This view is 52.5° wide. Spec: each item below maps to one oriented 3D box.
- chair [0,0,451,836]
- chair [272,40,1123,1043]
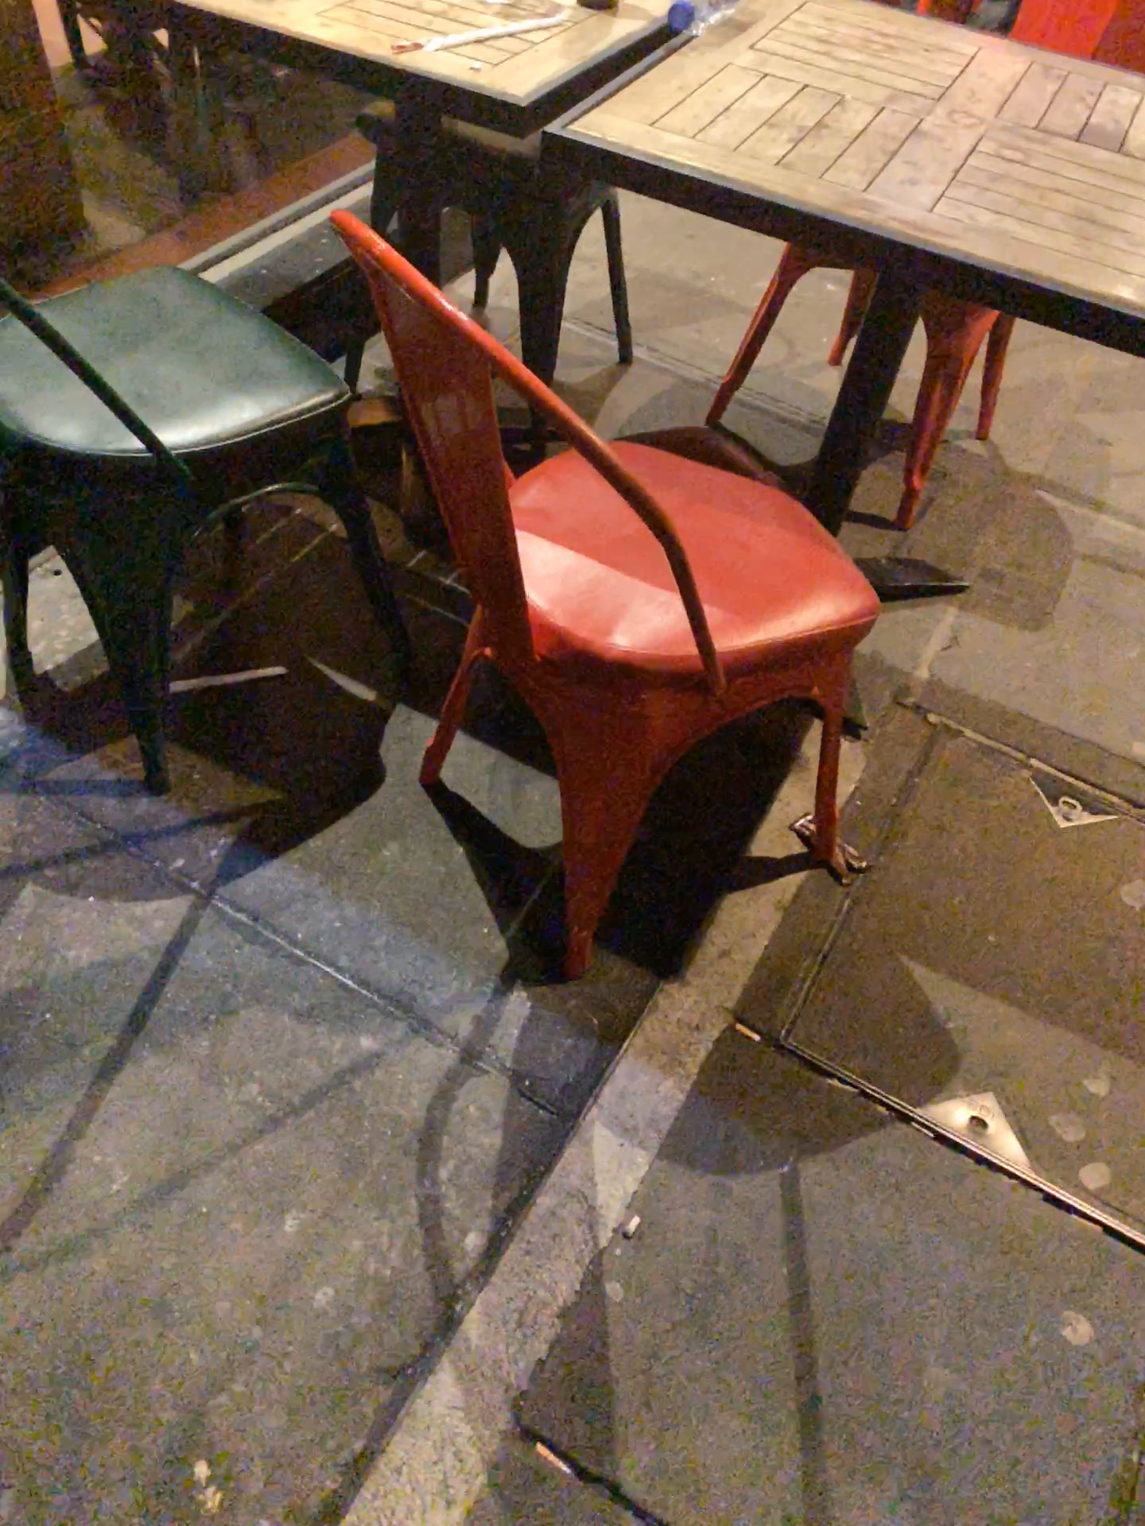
[{"bbox_3d":[-0.478,-0.410,1.328,0.512,0.833,0.432,-32,64,-24],"label":"chair"},{"bbox_3d":[0.068,-0.193,1.210,0.512,0.812,0.433,-25,55,-24],"label":"chair"}]
